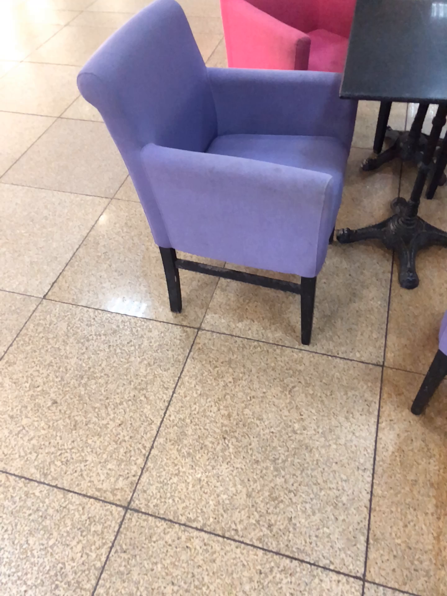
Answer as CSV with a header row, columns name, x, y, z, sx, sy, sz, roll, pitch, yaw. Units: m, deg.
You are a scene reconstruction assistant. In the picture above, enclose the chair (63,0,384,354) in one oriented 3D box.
name,x,y,z,sx,sy,sz,roll,pitch,yaw
chair,0.059,-0.368,1.452,0.610,0.817,0.592,11,50,13
